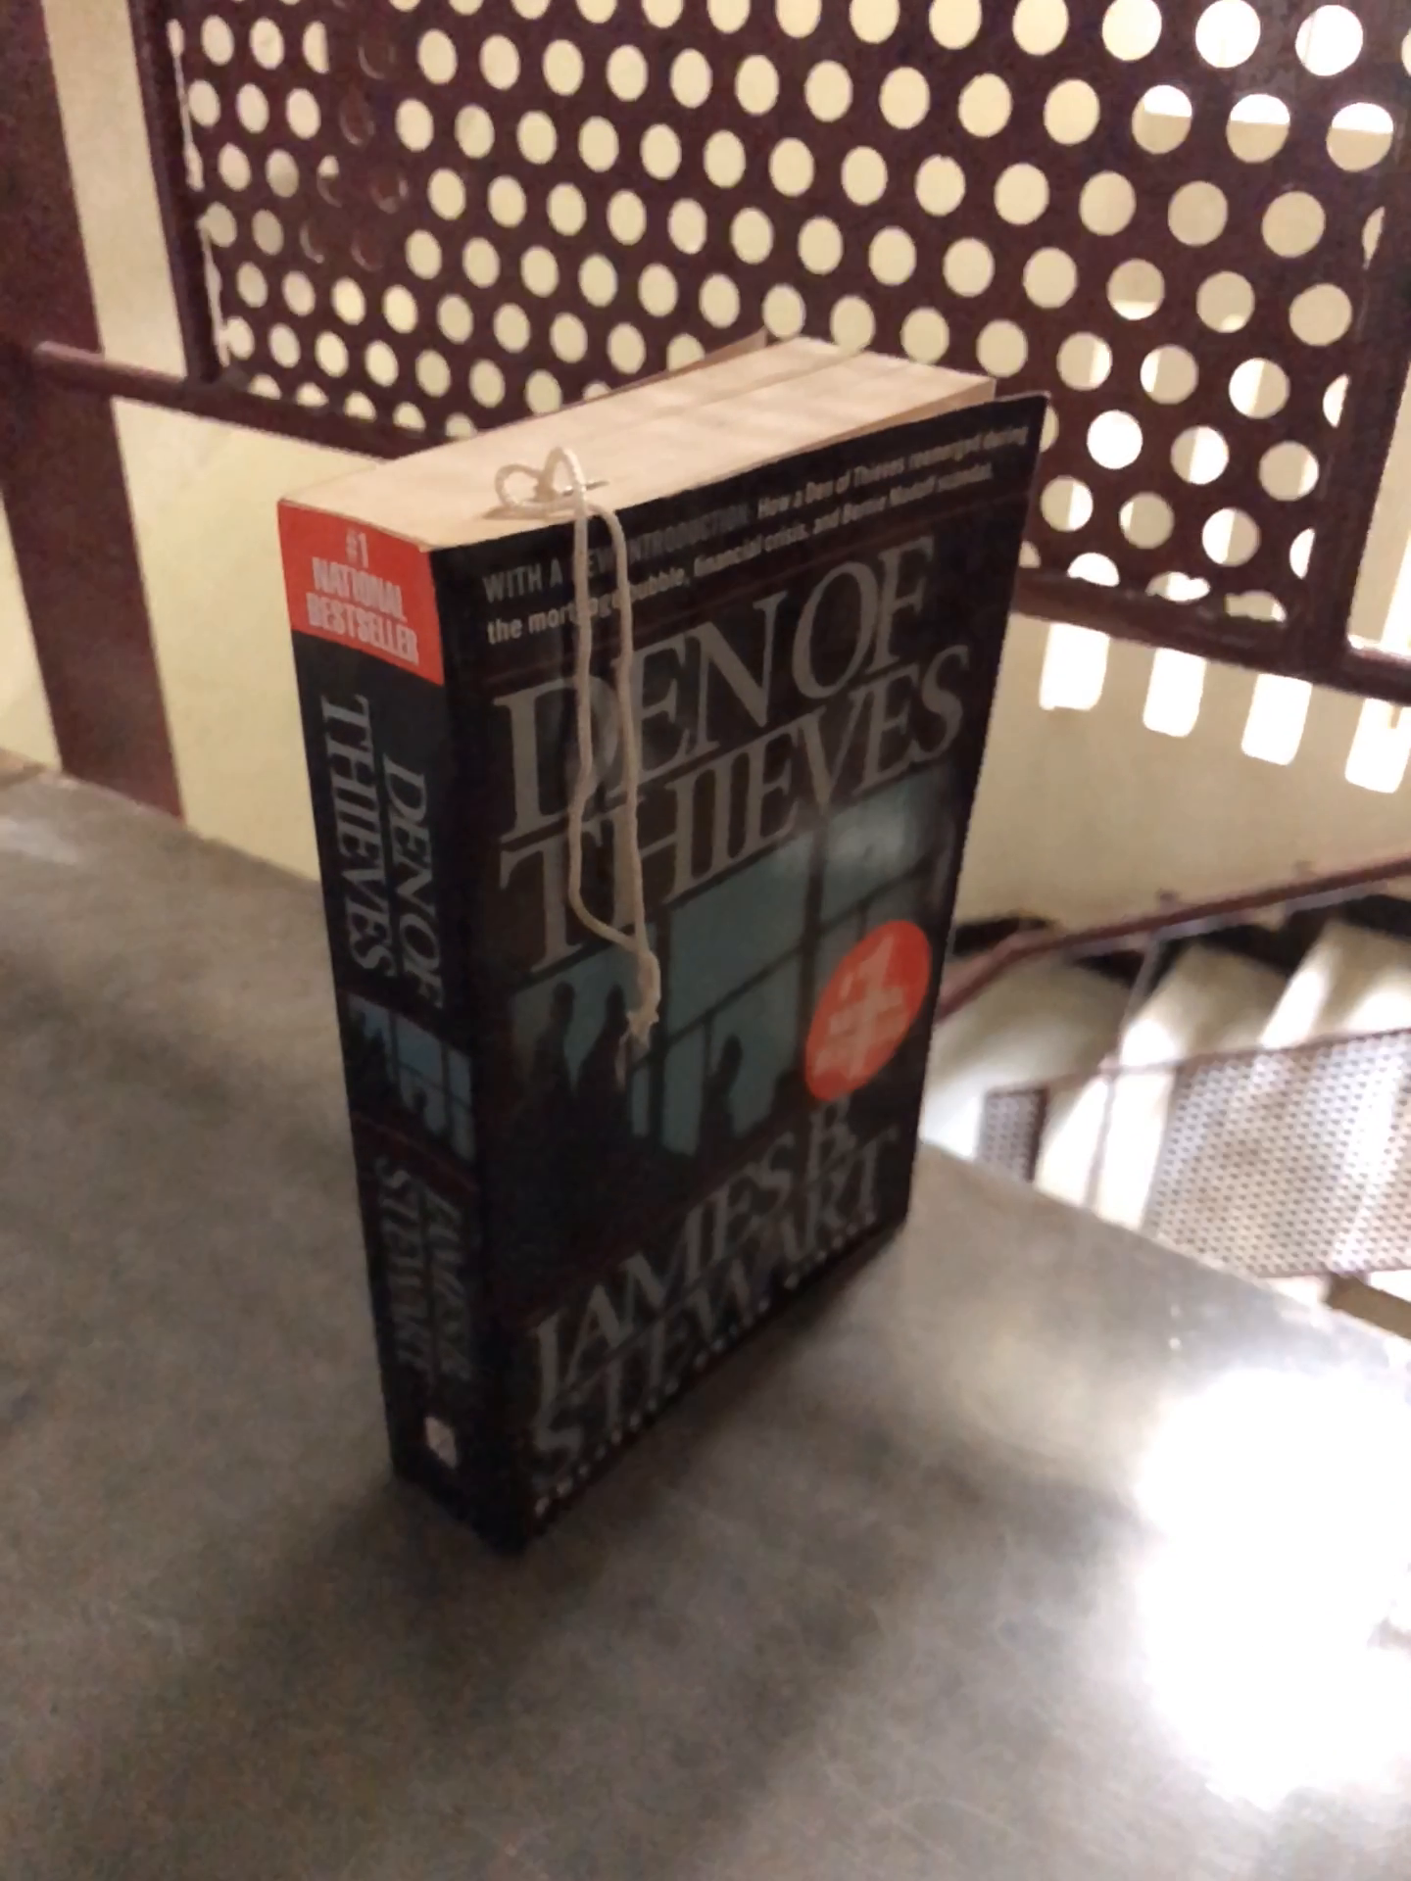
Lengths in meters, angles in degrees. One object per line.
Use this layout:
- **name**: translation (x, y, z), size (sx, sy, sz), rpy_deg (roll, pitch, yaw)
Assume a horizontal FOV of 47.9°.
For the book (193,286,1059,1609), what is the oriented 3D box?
- **book**: translation (-0.003, -0.004, 0.328), size (0.050, 0.219, 0.171), rpy_deg (23, 38, 30)
